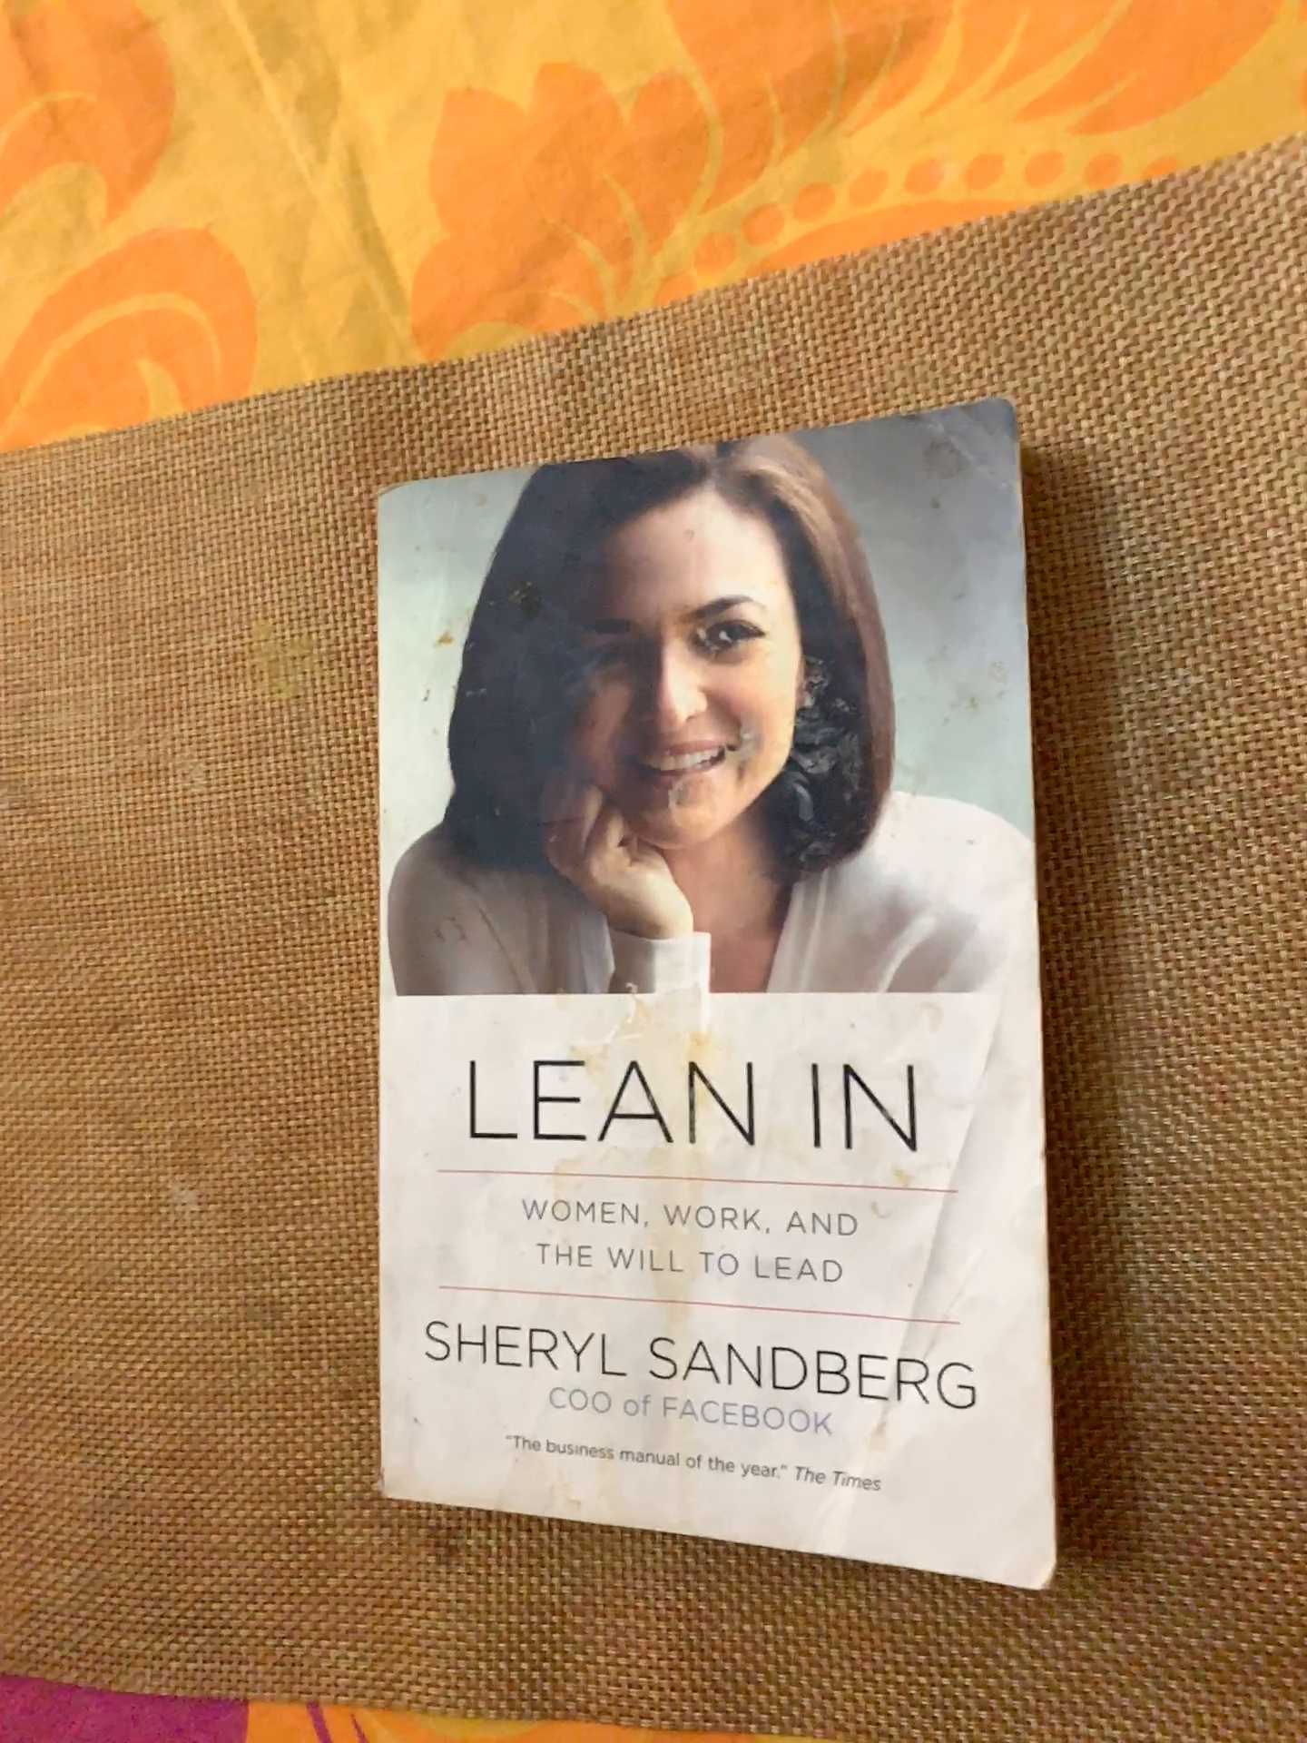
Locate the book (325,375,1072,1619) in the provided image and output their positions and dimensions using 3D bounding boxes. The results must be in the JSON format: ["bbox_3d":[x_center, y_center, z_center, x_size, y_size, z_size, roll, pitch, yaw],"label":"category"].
[{"bbox_3d":[0.004,0.021,0.268,0.141,0.026,0.212,-3,84,20],"label":"book"}]
